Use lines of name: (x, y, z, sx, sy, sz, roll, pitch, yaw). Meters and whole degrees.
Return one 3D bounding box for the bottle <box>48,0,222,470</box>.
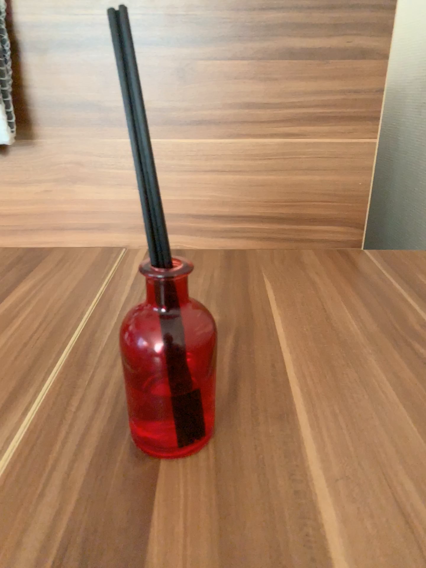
bottle: (-0.028, -0.014, 0.228, 0.060, 0.239, 0.050, 2, 24, 5)
